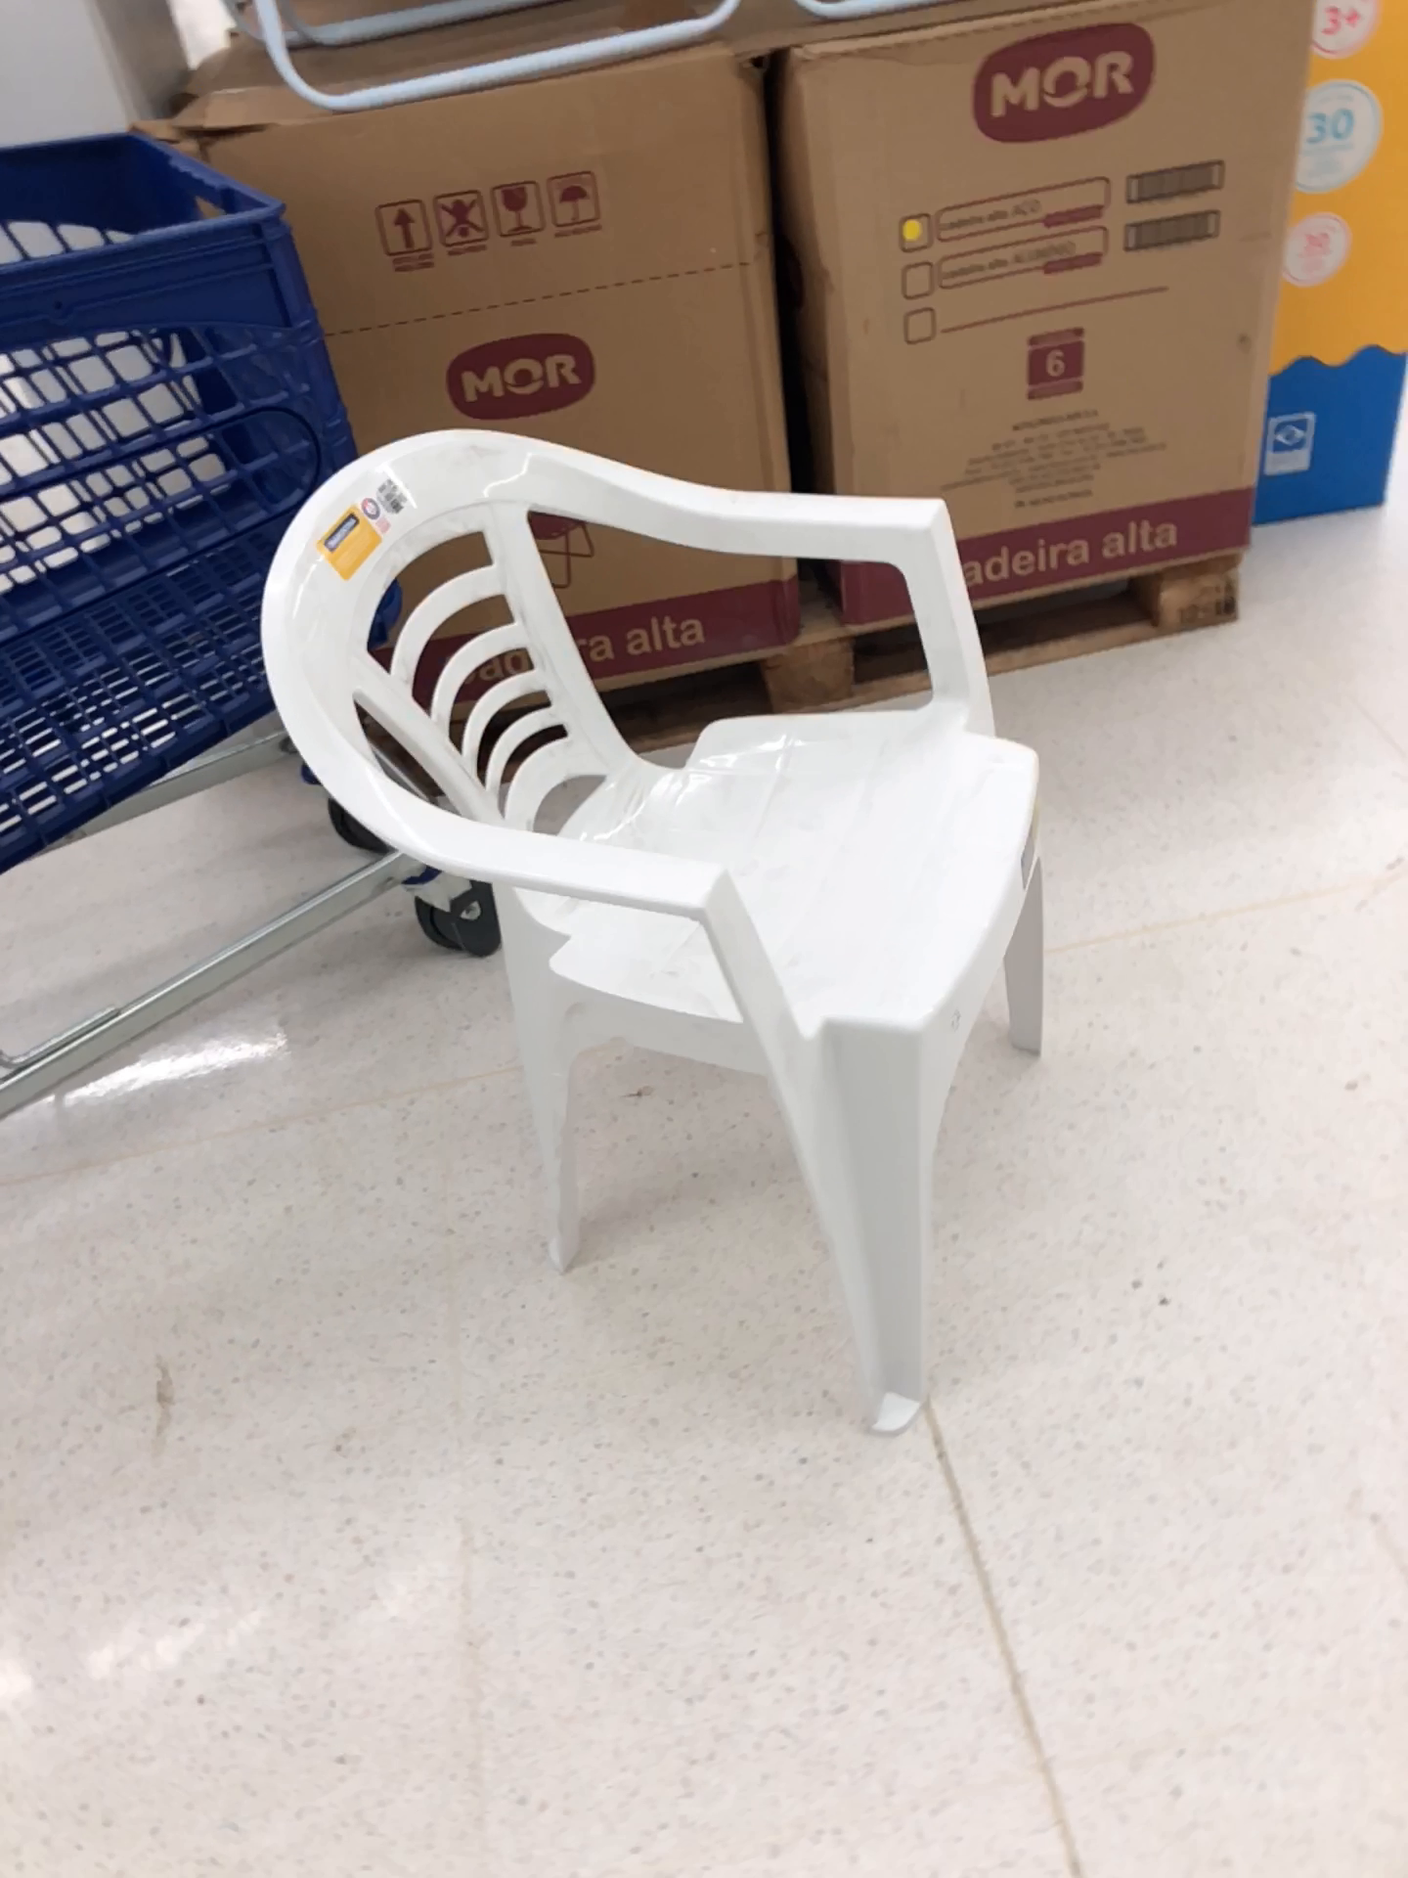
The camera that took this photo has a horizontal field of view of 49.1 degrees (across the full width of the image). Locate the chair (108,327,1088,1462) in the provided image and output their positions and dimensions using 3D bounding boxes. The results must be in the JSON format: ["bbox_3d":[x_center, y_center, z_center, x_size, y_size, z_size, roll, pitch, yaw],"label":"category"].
[{"bbox_3d":[0.003,-0.051,1.265,0.501,0.695,0.523,9,44,21],"label":"chair"}]
